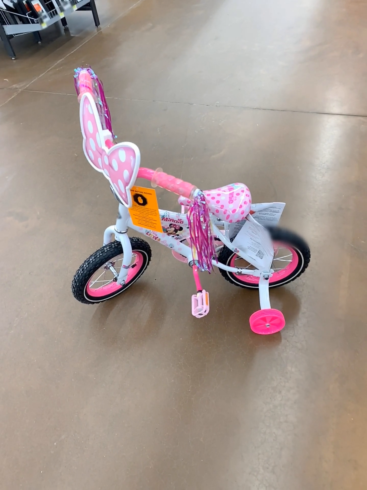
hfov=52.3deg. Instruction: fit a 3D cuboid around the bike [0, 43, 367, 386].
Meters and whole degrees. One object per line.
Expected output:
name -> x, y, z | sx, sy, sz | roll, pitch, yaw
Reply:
bike -> 0.015, -0.045, 1.038 | 0.759, 0.750, 0.445 | -12, 46, -5
